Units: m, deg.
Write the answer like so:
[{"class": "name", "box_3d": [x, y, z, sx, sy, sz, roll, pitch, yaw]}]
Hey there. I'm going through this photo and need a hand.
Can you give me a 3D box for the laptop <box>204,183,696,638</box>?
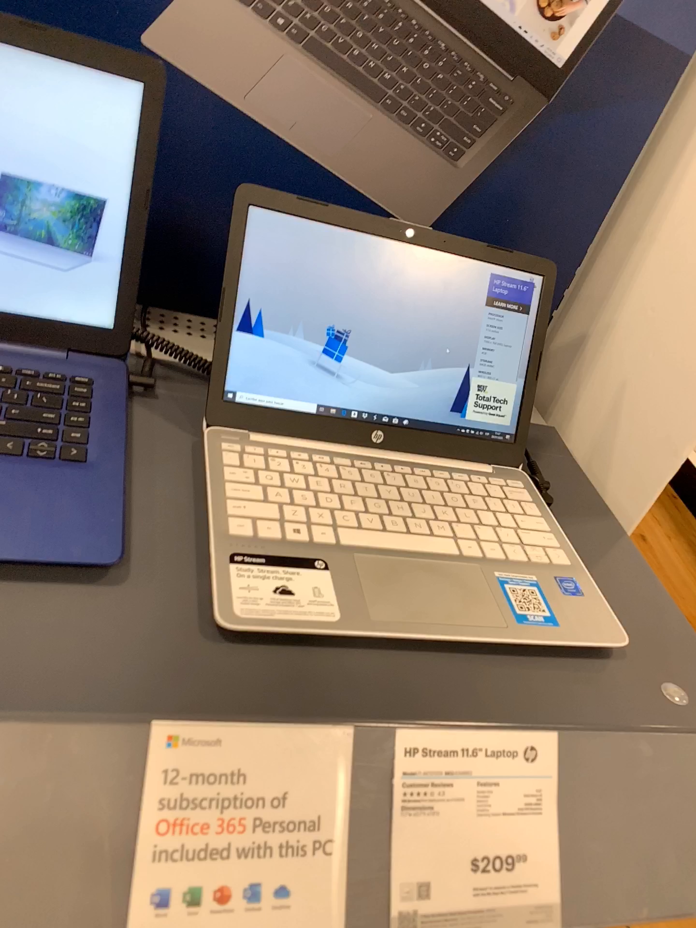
[{"class": "laptop", "box_3d": [0.054, -0.041, 0.493, 0.267, 0.144, 0.275, 8, 36, -22]}]
